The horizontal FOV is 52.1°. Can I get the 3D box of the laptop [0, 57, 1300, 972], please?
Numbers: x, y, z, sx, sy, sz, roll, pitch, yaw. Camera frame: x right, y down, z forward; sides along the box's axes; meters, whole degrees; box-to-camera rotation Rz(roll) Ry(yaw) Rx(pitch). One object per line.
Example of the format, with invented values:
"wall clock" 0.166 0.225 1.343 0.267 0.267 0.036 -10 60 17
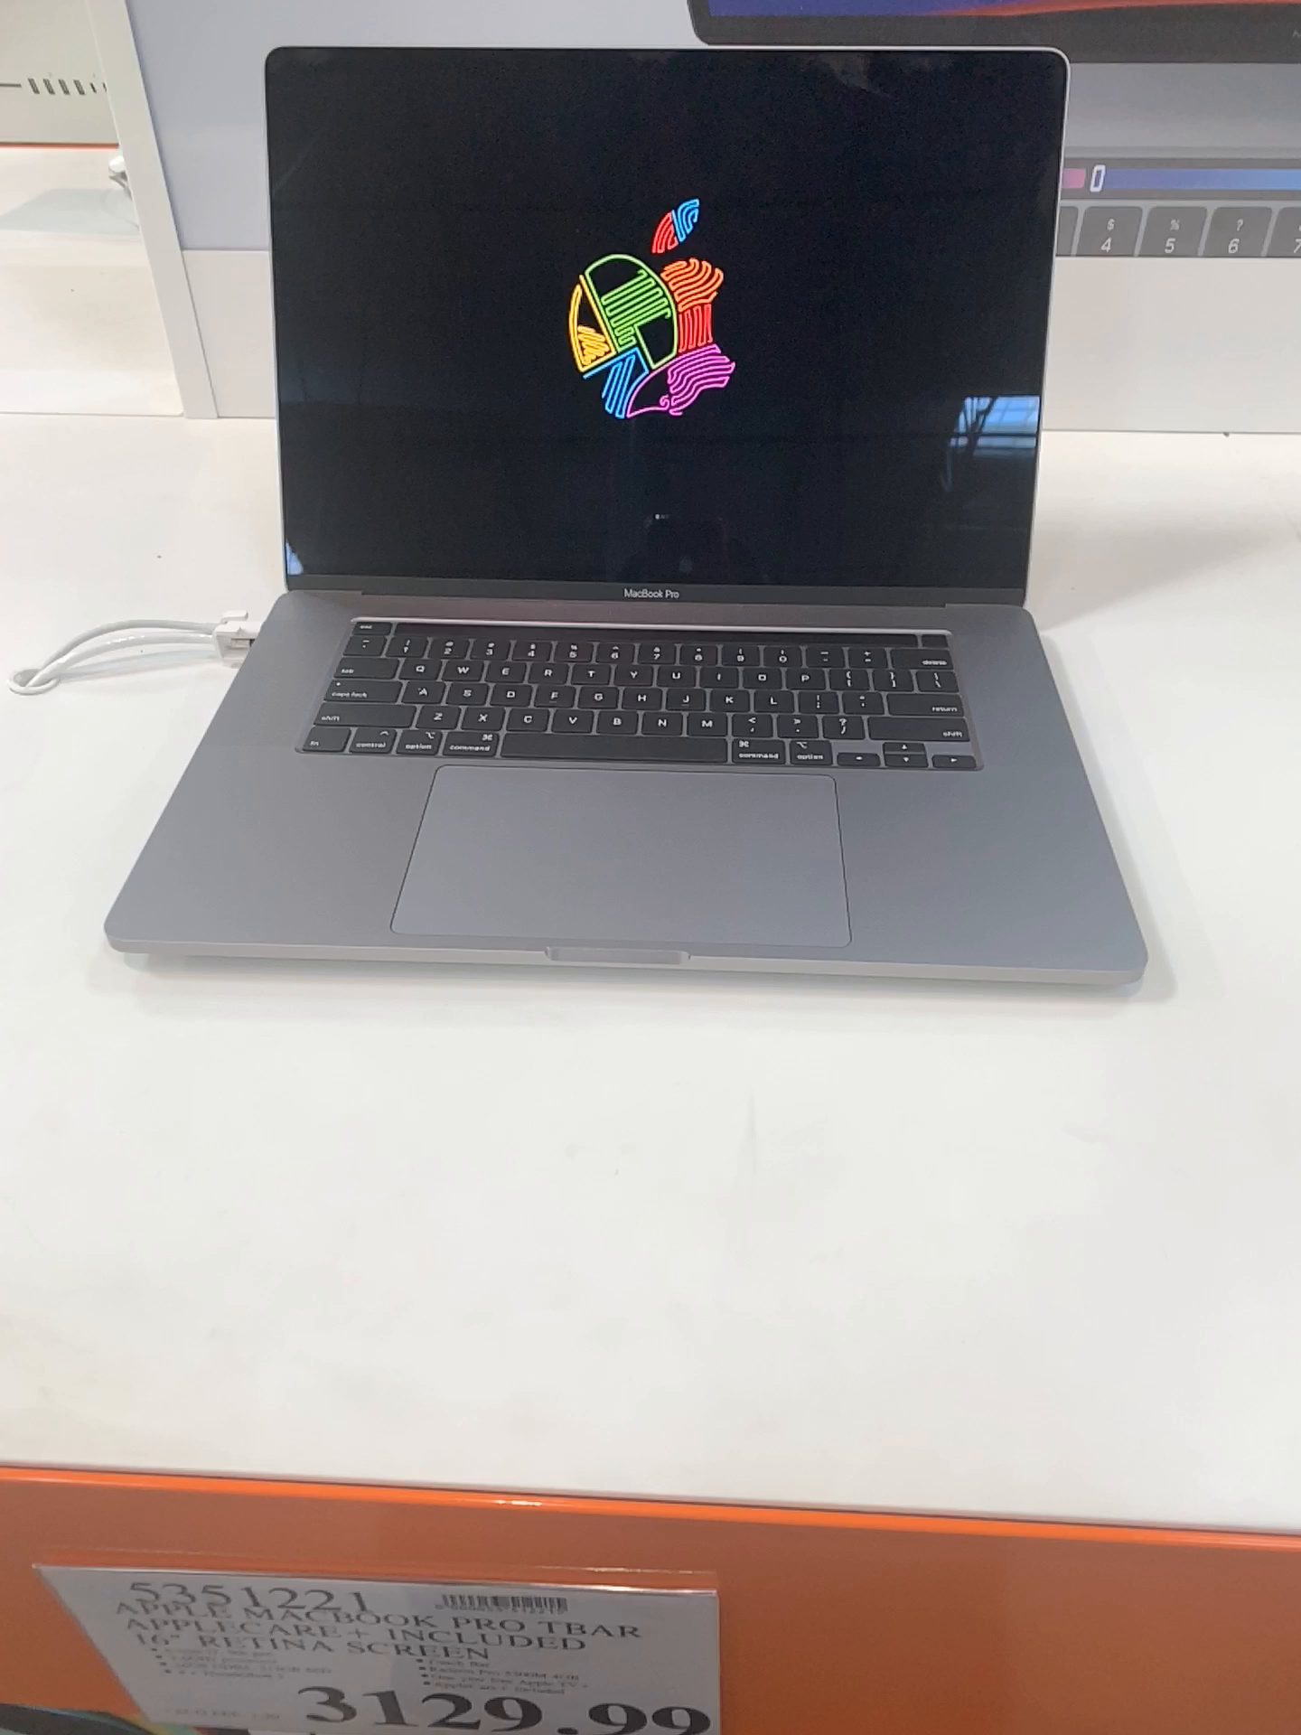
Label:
"laptop" -0.003 -0.159 0.505 0.341 0.203 0.347 1 40 2
